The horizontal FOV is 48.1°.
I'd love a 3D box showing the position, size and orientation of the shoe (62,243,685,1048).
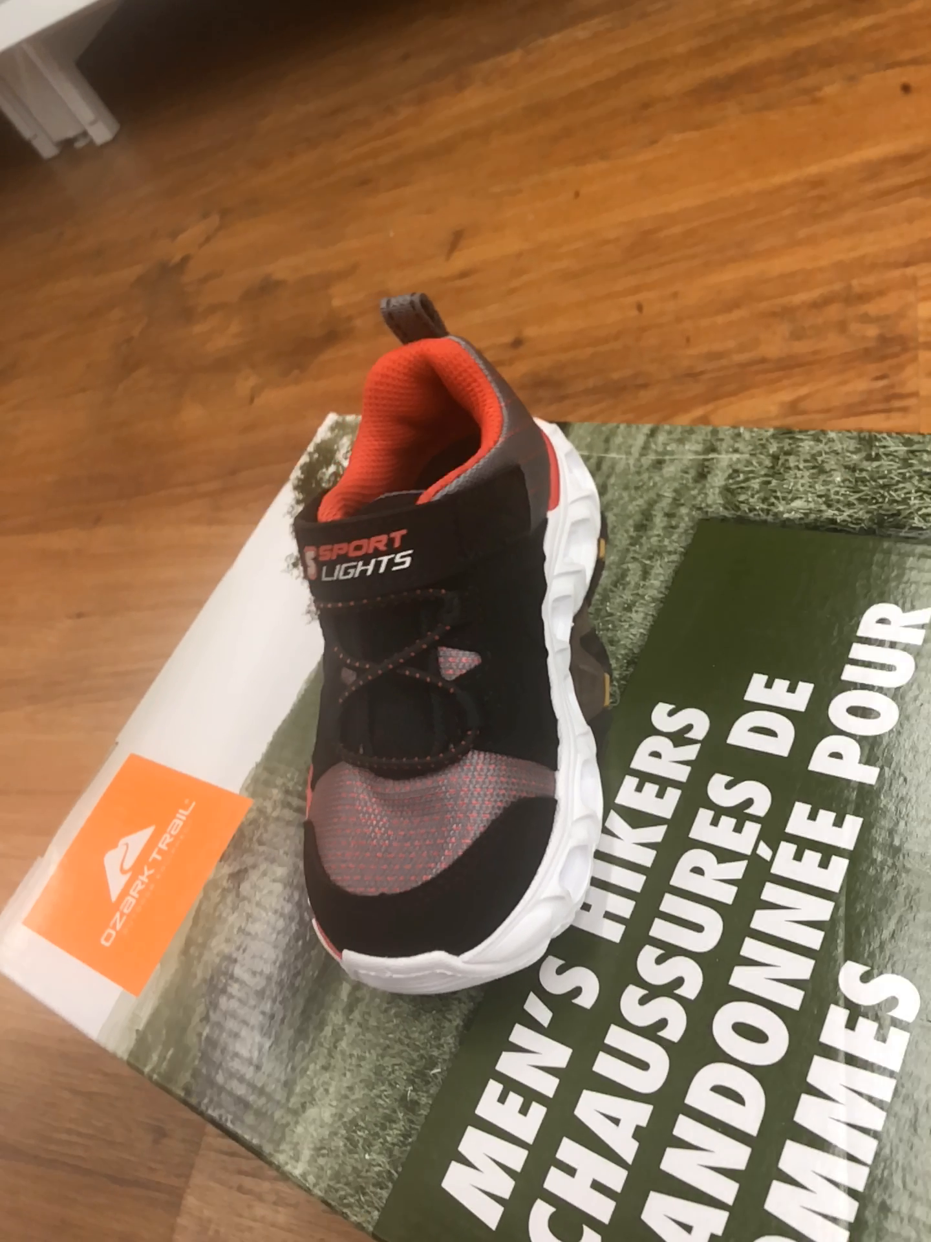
[{"bbox_3d":[-0.007,0.005,0.268,0.090,0.090,0.170,-7,52,28],"label":"shoe"}]
